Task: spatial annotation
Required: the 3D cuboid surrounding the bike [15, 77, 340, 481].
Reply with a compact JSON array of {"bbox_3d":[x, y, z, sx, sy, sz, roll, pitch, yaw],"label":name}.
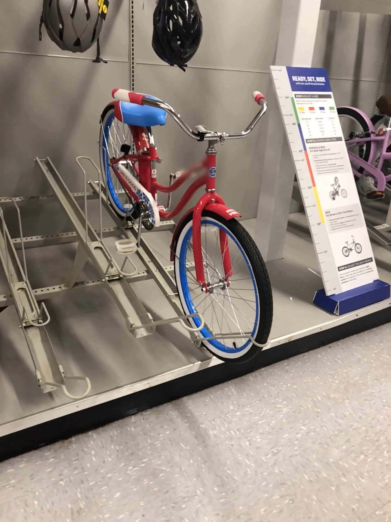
[{"bbox_3d":[-0.209,-0.166,2.003,0.811,0.676,1.612,-10,42,-31],"label":"bike"}]
